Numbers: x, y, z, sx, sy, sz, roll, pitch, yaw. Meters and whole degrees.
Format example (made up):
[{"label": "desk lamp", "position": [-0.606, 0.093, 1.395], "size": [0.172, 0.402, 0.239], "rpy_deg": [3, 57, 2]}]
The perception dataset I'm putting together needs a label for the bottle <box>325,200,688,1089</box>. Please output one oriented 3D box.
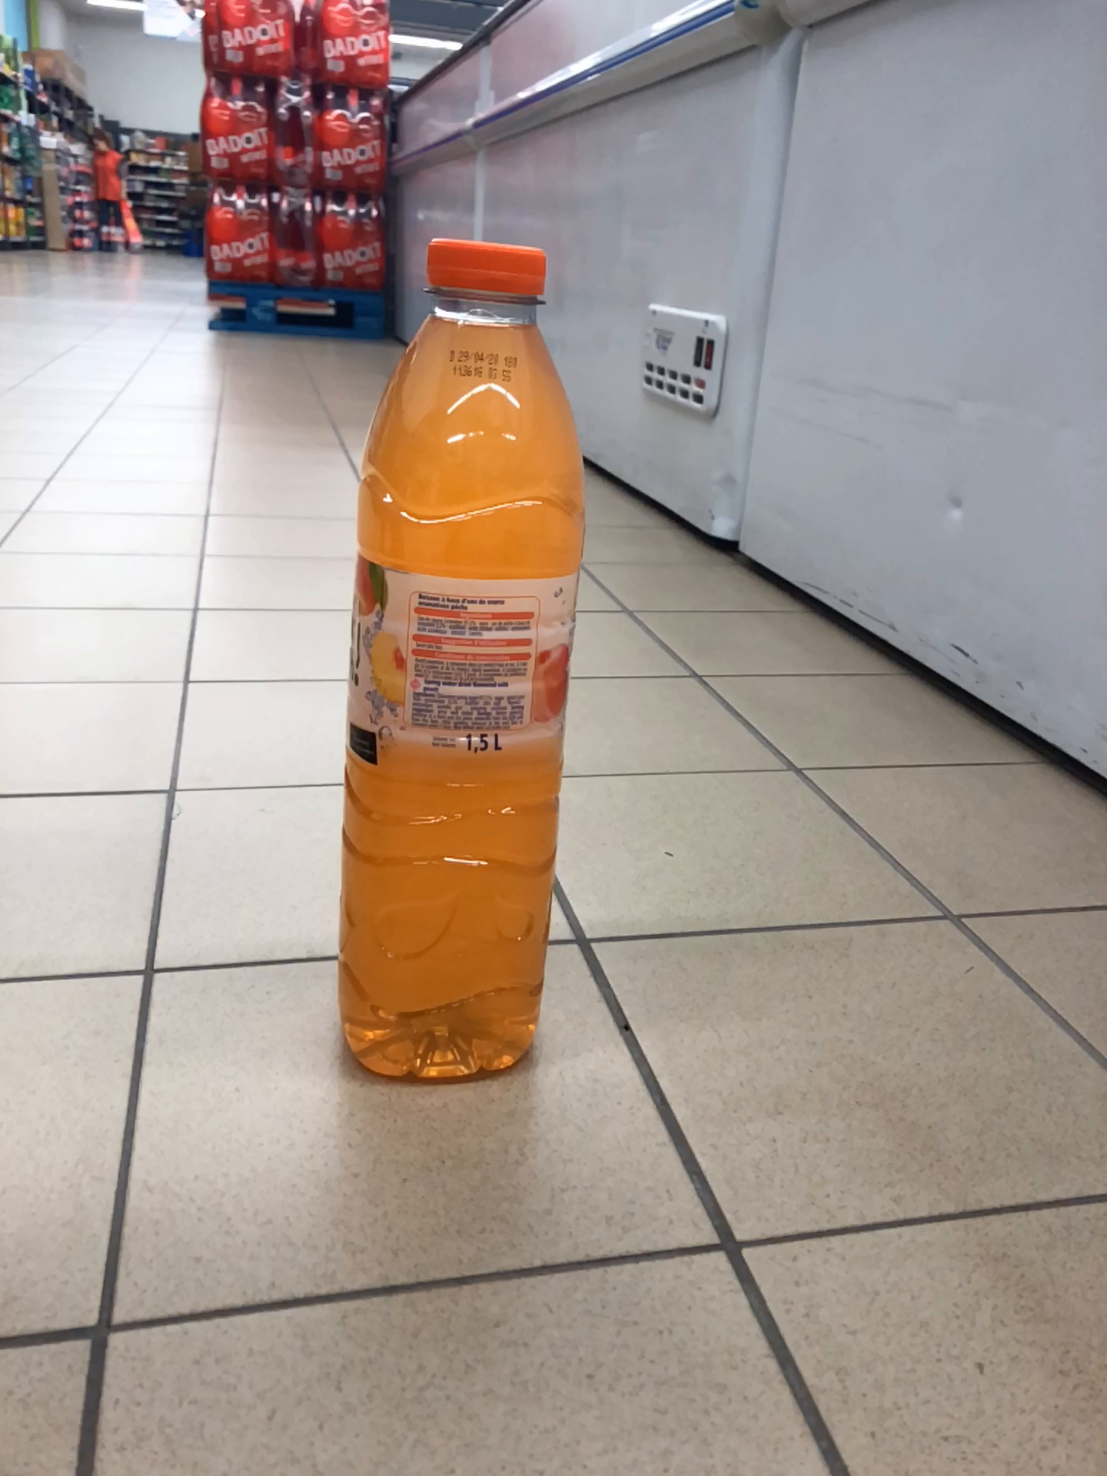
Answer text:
[{"label": "bottle", "position": [-0.030, -0.030, 0.452], "size": [0.100, 0.299, 0.100], "rpy_deg": [4, 20, -1]}]
